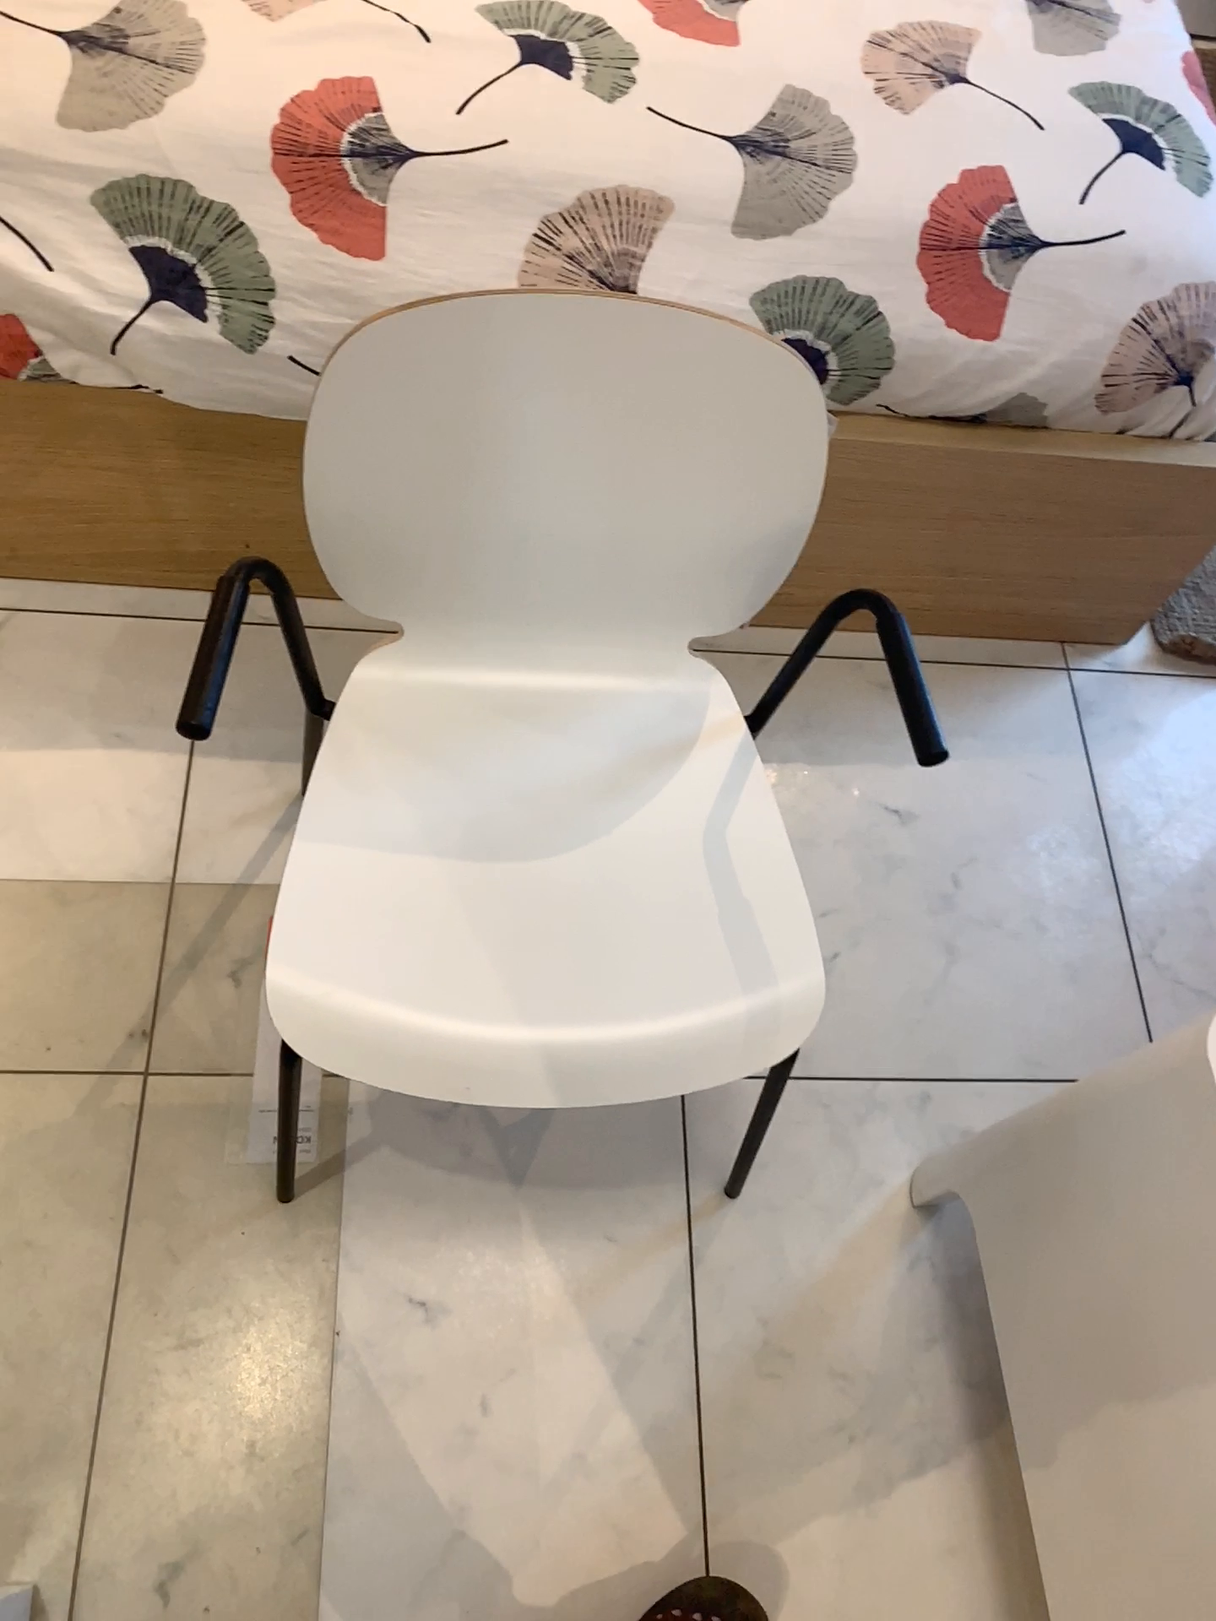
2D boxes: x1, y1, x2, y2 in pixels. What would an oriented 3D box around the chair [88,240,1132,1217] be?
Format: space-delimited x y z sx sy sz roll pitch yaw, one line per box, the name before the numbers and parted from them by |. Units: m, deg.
chair | -0.039 0.015 1.075 0.550 0.699 0.541 2 63 -8
